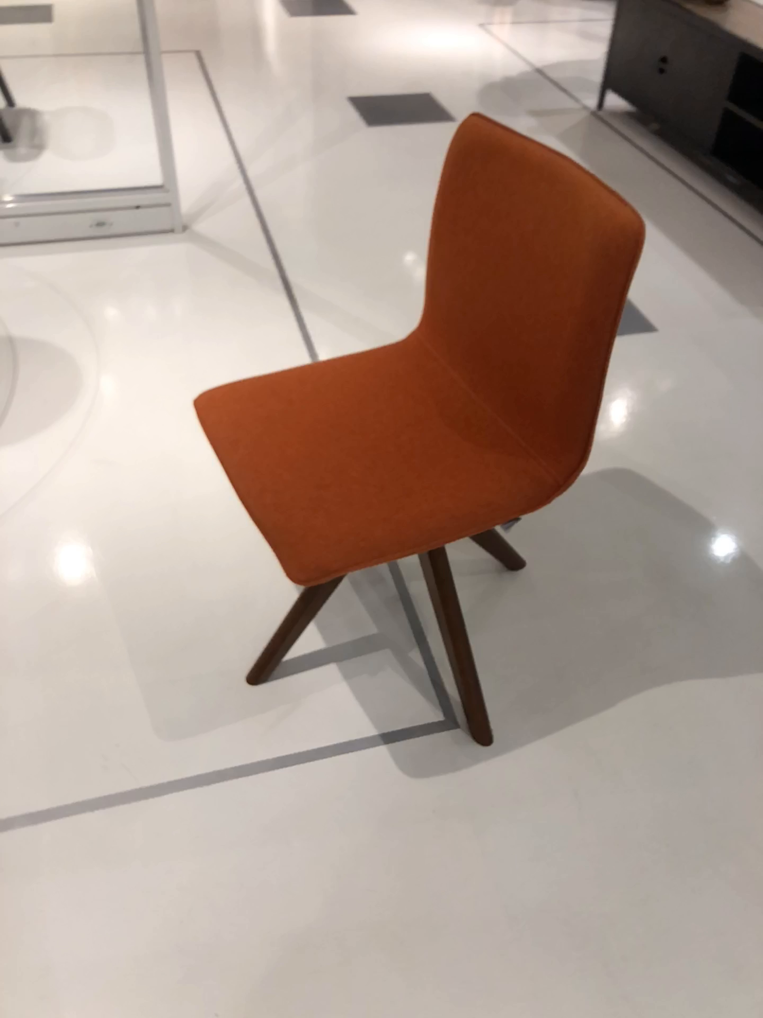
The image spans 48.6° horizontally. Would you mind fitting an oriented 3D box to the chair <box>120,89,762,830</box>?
[{"bbox_3d":[0.052,-0.093,1.293,0.611,0.794,0.614,-18,46,-21],"label":"chair"}]
